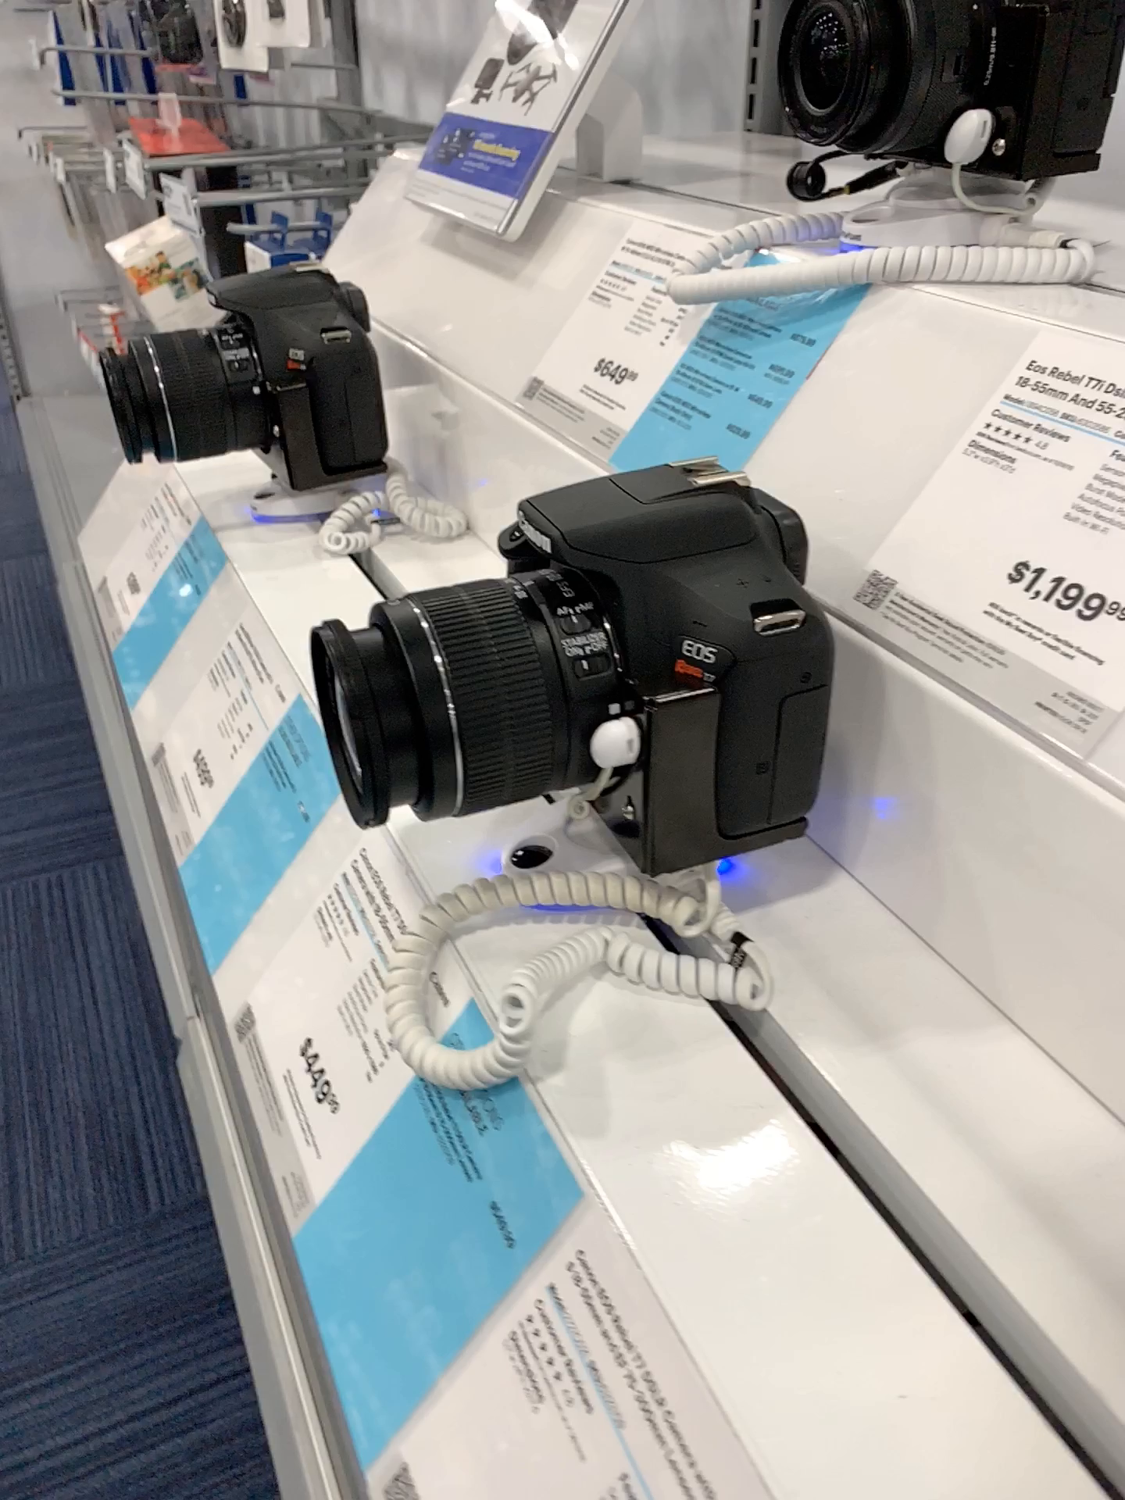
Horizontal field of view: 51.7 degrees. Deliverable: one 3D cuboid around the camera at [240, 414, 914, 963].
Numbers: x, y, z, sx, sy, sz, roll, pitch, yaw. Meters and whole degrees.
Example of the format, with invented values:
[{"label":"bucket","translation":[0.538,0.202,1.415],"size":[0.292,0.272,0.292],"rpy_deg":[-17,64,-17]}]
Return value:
[{"label":"camera","translation":[-0.001,-0.032,0.358],"size":[0.150,0.090,0.131],"rpy_deg":[-16,35,-24]}]
